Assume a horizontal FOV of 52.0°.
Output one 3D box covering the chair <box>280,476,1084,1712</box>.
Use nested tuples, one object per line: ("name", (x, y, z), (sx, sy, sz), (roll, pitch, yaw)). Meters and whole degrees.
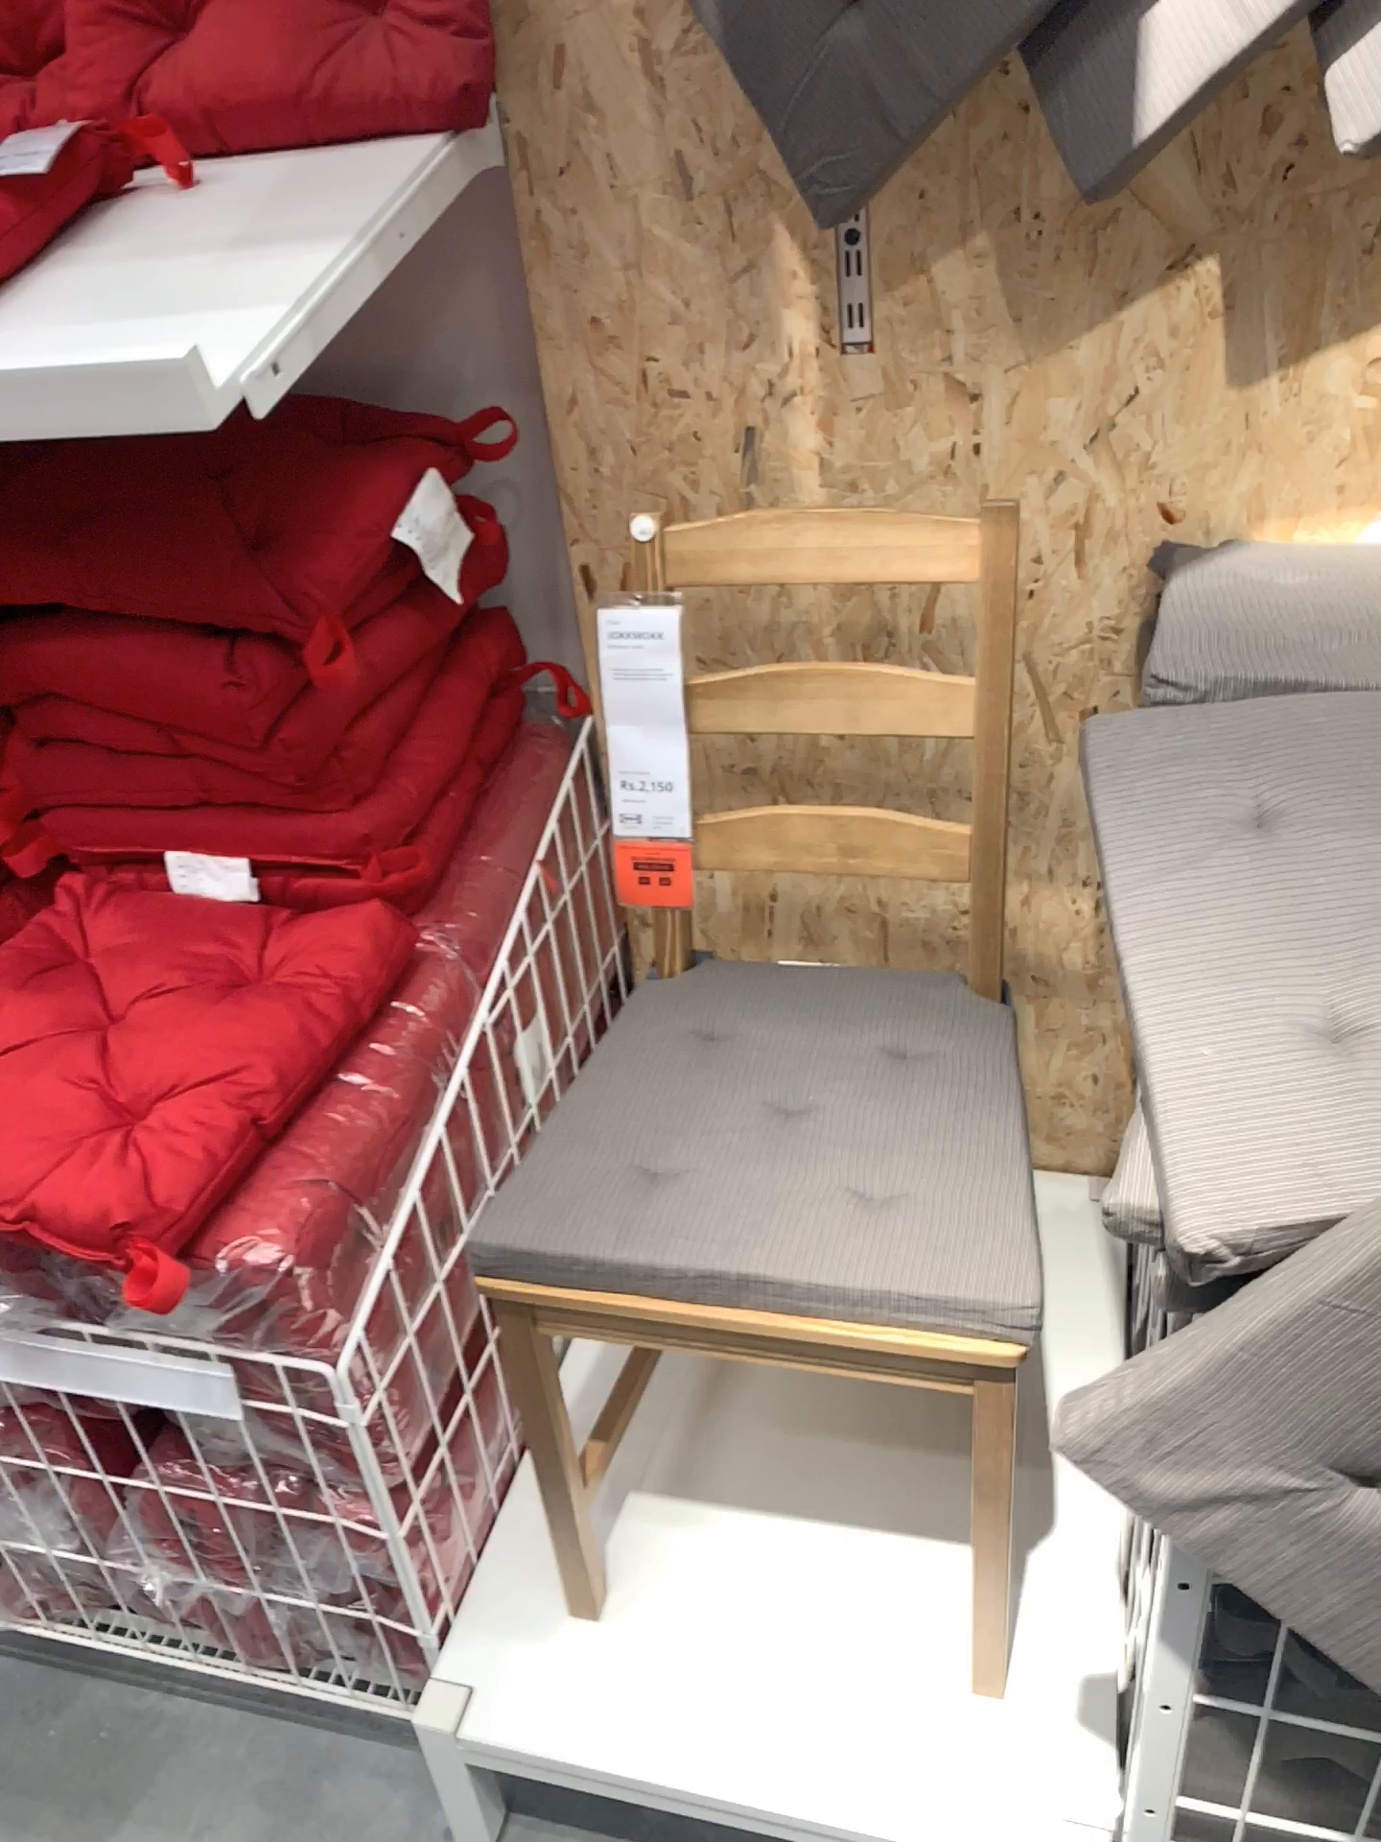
("chair", (0.081, 0.141, 1.197), (0.440, 0.866, 0.502), (3, 33, 16))
